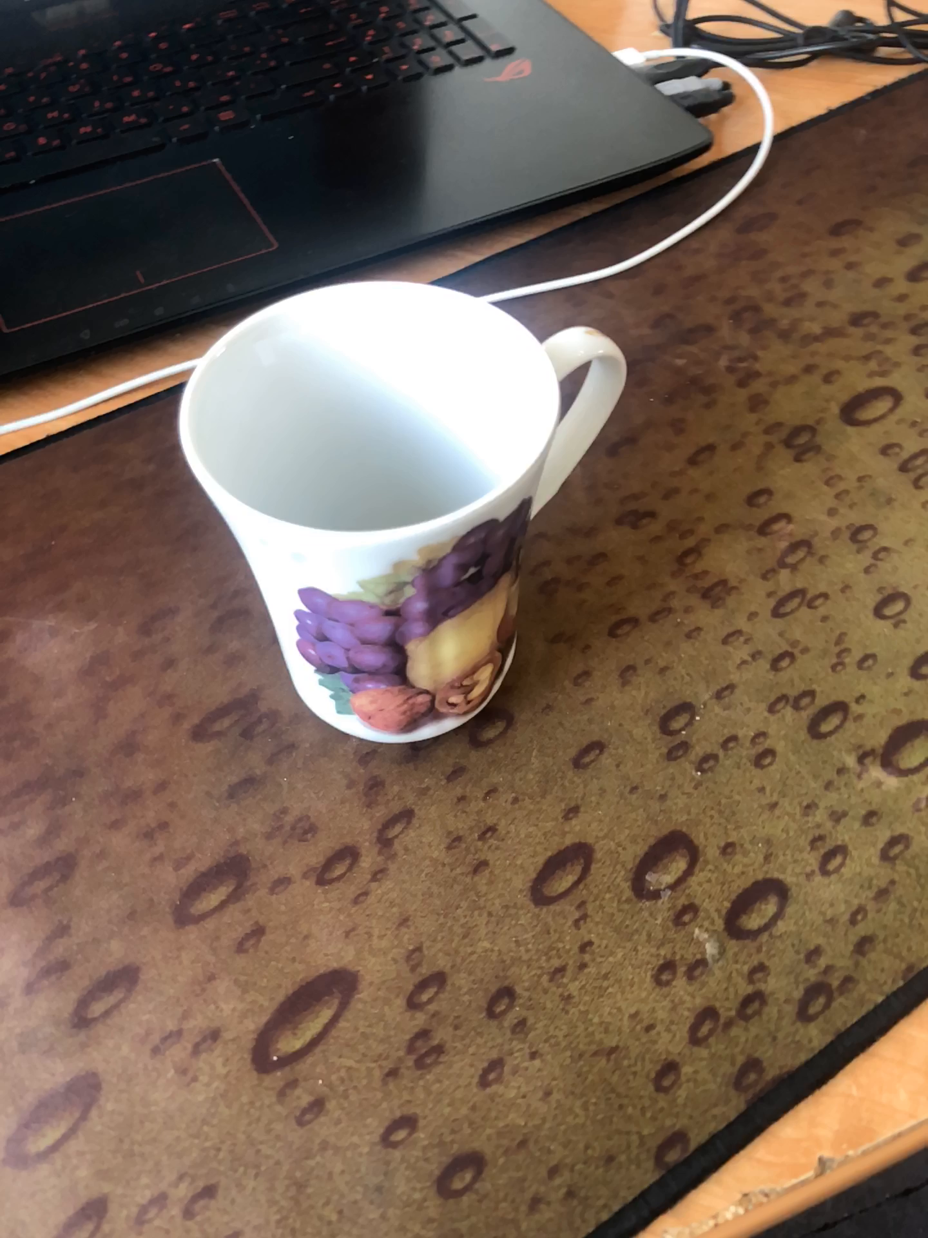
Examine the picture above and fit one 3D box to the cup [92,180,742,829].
[{"bbox_3d":[-0.008,-0.028,0.234,0.100,0.080,0.080,-35,58,-22],"label":"cup"}]
